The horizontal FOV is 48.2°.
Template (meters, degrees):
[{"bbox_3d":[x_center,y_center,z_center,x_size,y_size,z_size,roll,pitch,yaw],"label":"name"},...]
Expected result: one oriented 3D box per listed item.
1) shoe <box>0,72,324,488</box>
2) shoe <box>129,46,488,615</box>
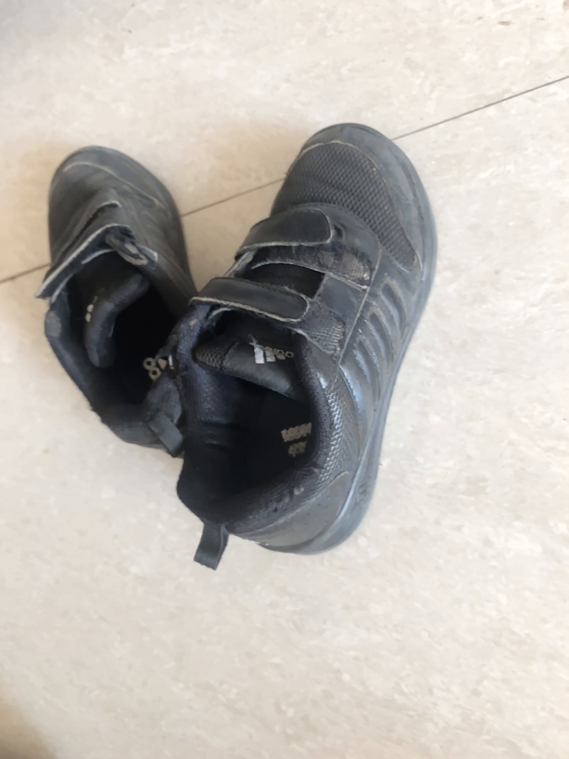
[{"bbox_3d":[-0.084,-0.053,0.354,0.100,0.080,0.201,-39,66,15],"label":"shoe"},{"bbox_3d":[0.020,-0.021,0.306,0.100,0.100,0.220,9,85,28],"label":"shoe"}]
